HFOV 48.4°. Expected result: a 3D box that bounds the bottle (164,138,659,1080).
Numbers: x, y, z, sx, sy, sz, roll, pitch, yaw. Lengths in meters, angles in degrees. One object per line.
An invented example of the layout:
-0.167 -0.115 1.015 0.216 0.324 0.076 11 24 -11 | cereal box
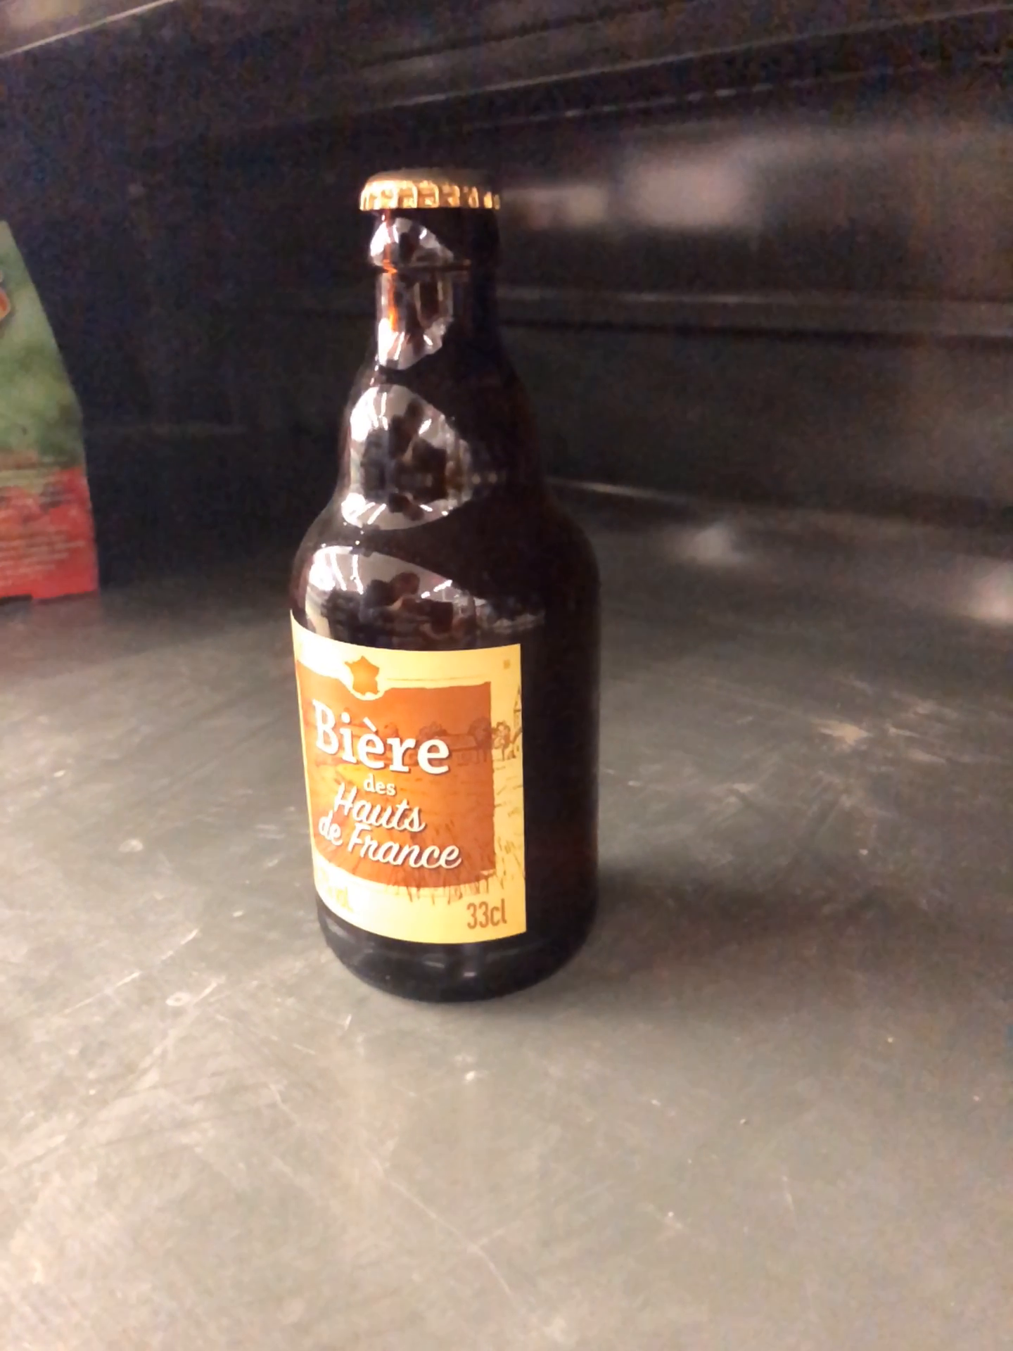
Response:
-0.014 -0.016 0.253 0.070 0.179 0.070 -1 19 0 | bottle

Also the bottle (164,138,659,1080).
-0.014 -0.016 0.253 0.070 0.179 0.070 -1 19 0 | bottle
